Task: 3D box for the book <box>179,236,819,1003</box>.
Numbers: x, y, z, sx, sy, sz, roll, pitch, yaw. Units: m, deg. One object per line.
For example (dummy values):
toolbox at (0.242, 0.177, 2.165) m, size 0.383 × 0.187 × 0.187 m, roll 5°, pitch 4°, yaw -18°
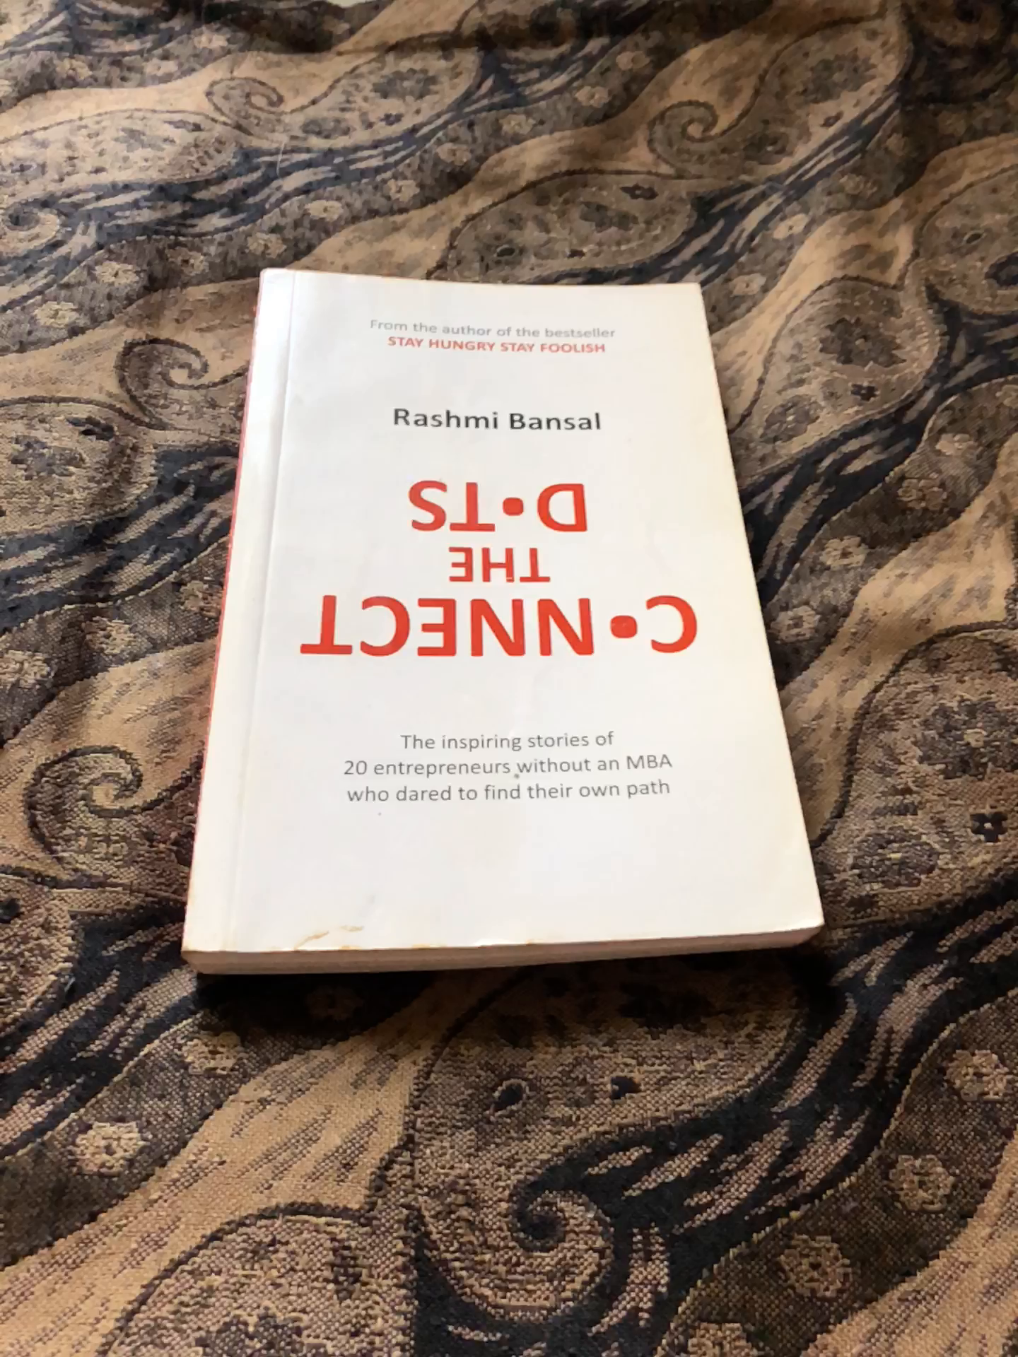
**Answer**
book at (-0.006, -0.031, 0.306) m, size 0.130 × 0.040 × 0.221 m, roll -1°, pitch 58°, yaw -2°
